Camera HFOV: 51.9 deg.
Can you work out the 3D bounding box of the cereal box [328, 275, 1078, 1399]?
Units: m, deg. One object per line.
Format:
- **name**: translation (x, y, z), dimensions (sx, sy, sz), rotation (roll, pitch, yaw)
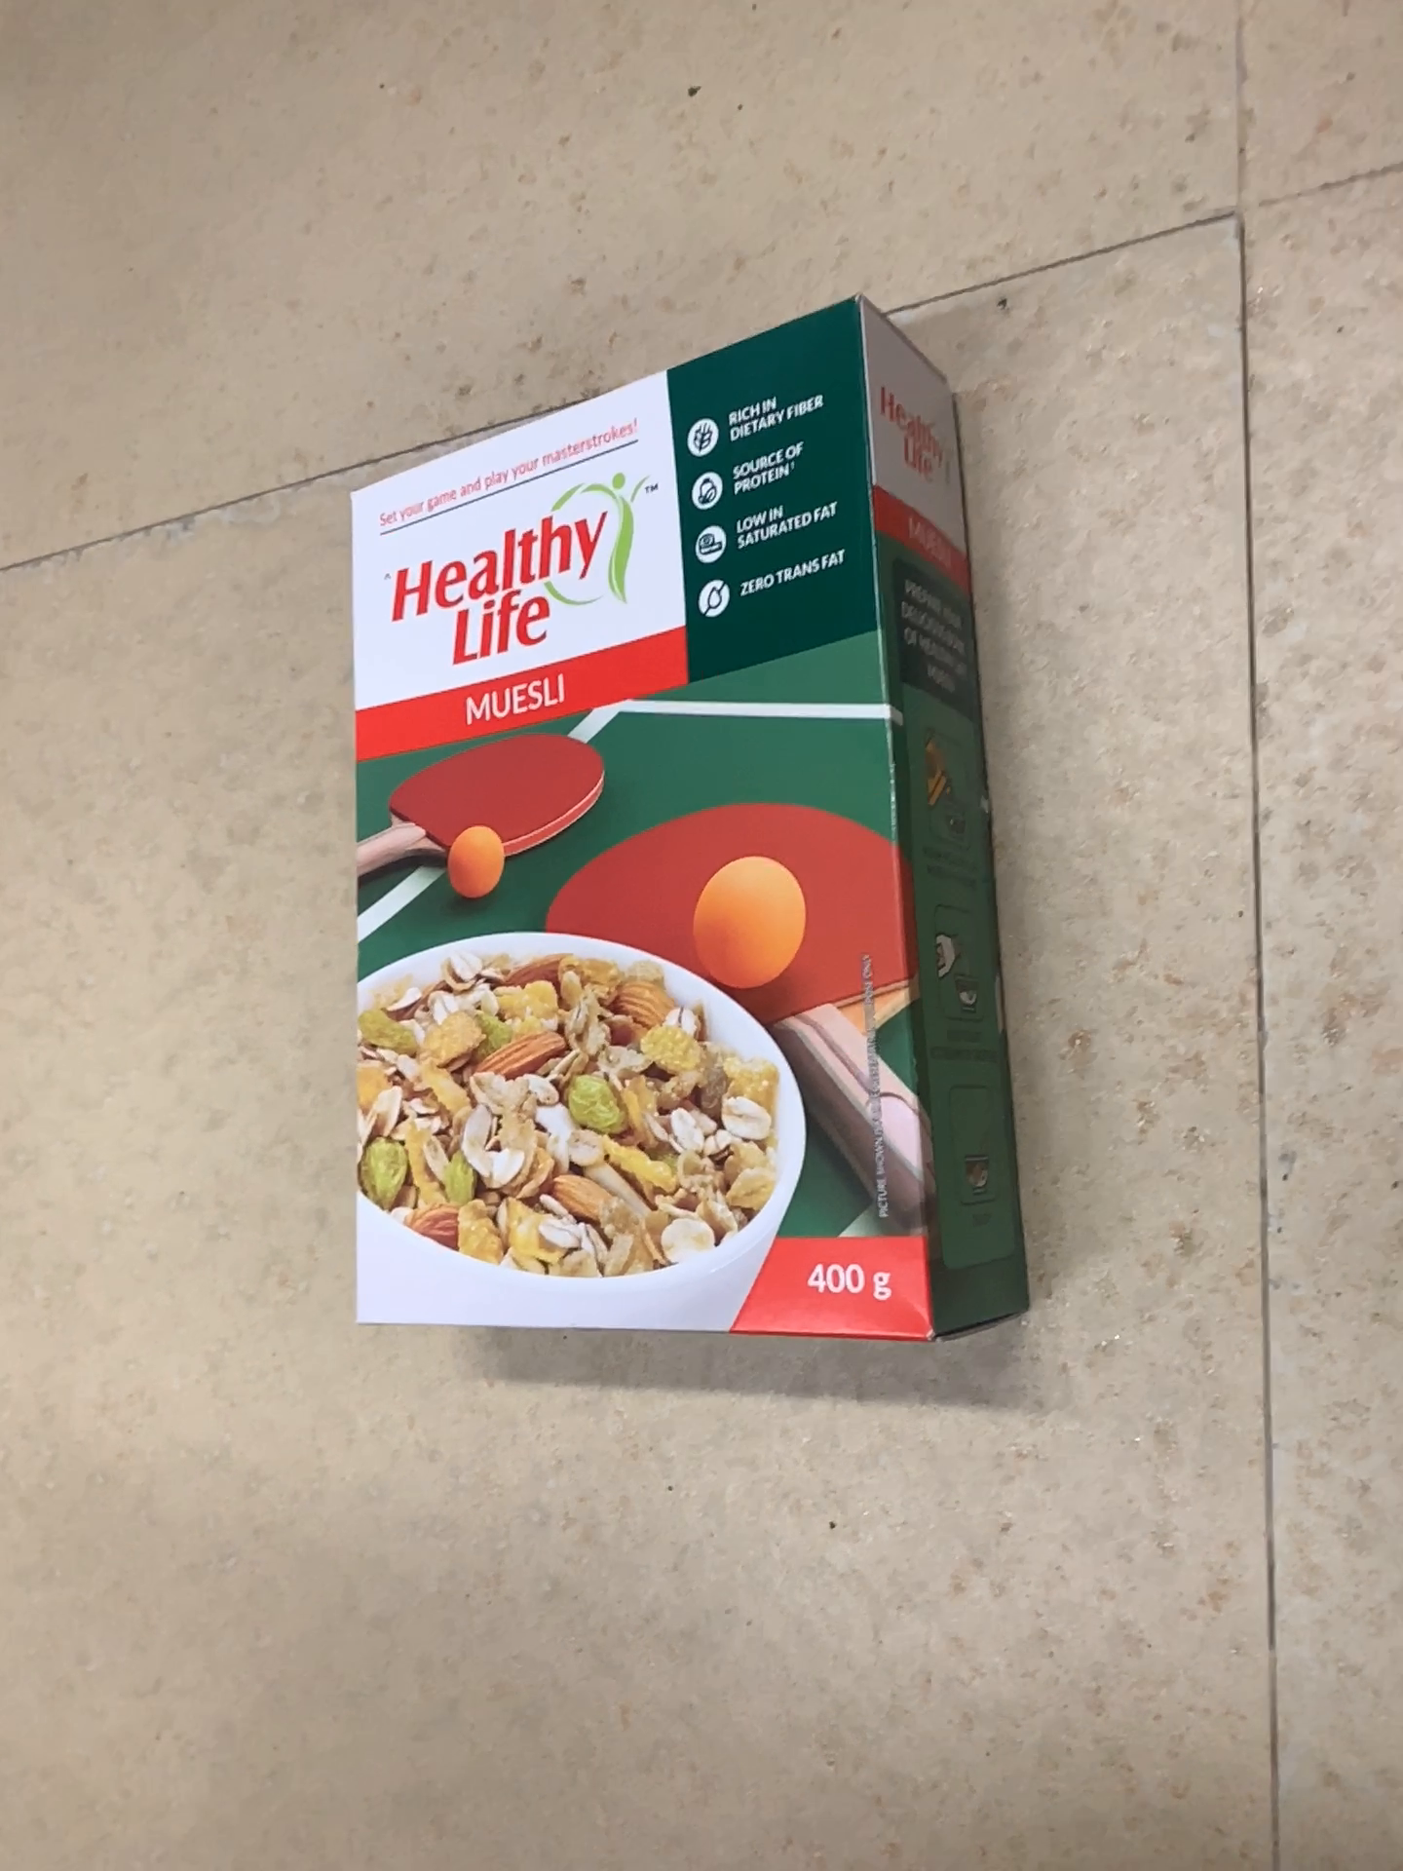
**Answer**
- **cereal box**: translation (-0.006, -0.013, 0.362), dimensions (0.161, 0.080, 0.230), rotation (-8, 80, 30)
